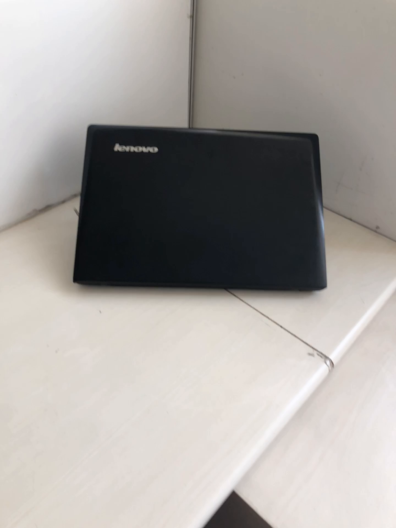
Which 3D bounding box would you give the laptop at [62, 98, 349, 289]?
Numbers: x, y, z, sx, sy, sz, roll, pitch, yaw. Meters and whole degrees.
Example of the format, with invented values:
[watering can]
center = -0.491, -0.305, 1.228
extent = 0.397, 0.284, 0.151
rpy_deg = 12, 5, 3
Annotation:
[laptop]
center = 0.010, -0.121, 0.705
extent = 0.374, 0.161, 0.254
rpy_deg = 2, 45, -2
